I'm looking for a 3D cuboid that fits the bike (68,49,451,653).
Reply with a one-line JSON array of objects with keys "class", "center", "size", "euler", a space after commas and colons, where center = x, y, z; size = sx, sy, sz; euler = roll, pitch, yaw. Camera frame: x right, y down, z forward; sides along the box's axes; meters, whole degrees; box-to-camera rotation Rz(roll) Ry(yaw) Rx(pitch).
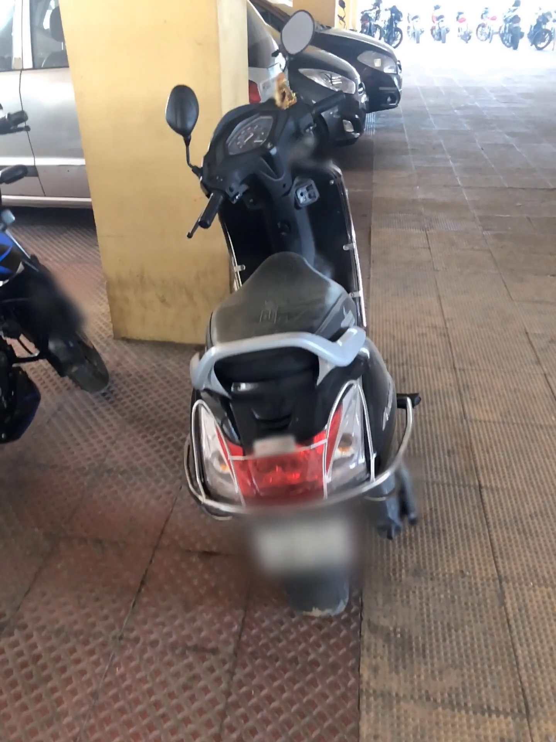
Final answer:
[{"class": "bike", "center": [-0.114, -0.206, 1.854], "size": [0.608, 1.173, 1.448], "euler": [-3, 34, -5]}]
